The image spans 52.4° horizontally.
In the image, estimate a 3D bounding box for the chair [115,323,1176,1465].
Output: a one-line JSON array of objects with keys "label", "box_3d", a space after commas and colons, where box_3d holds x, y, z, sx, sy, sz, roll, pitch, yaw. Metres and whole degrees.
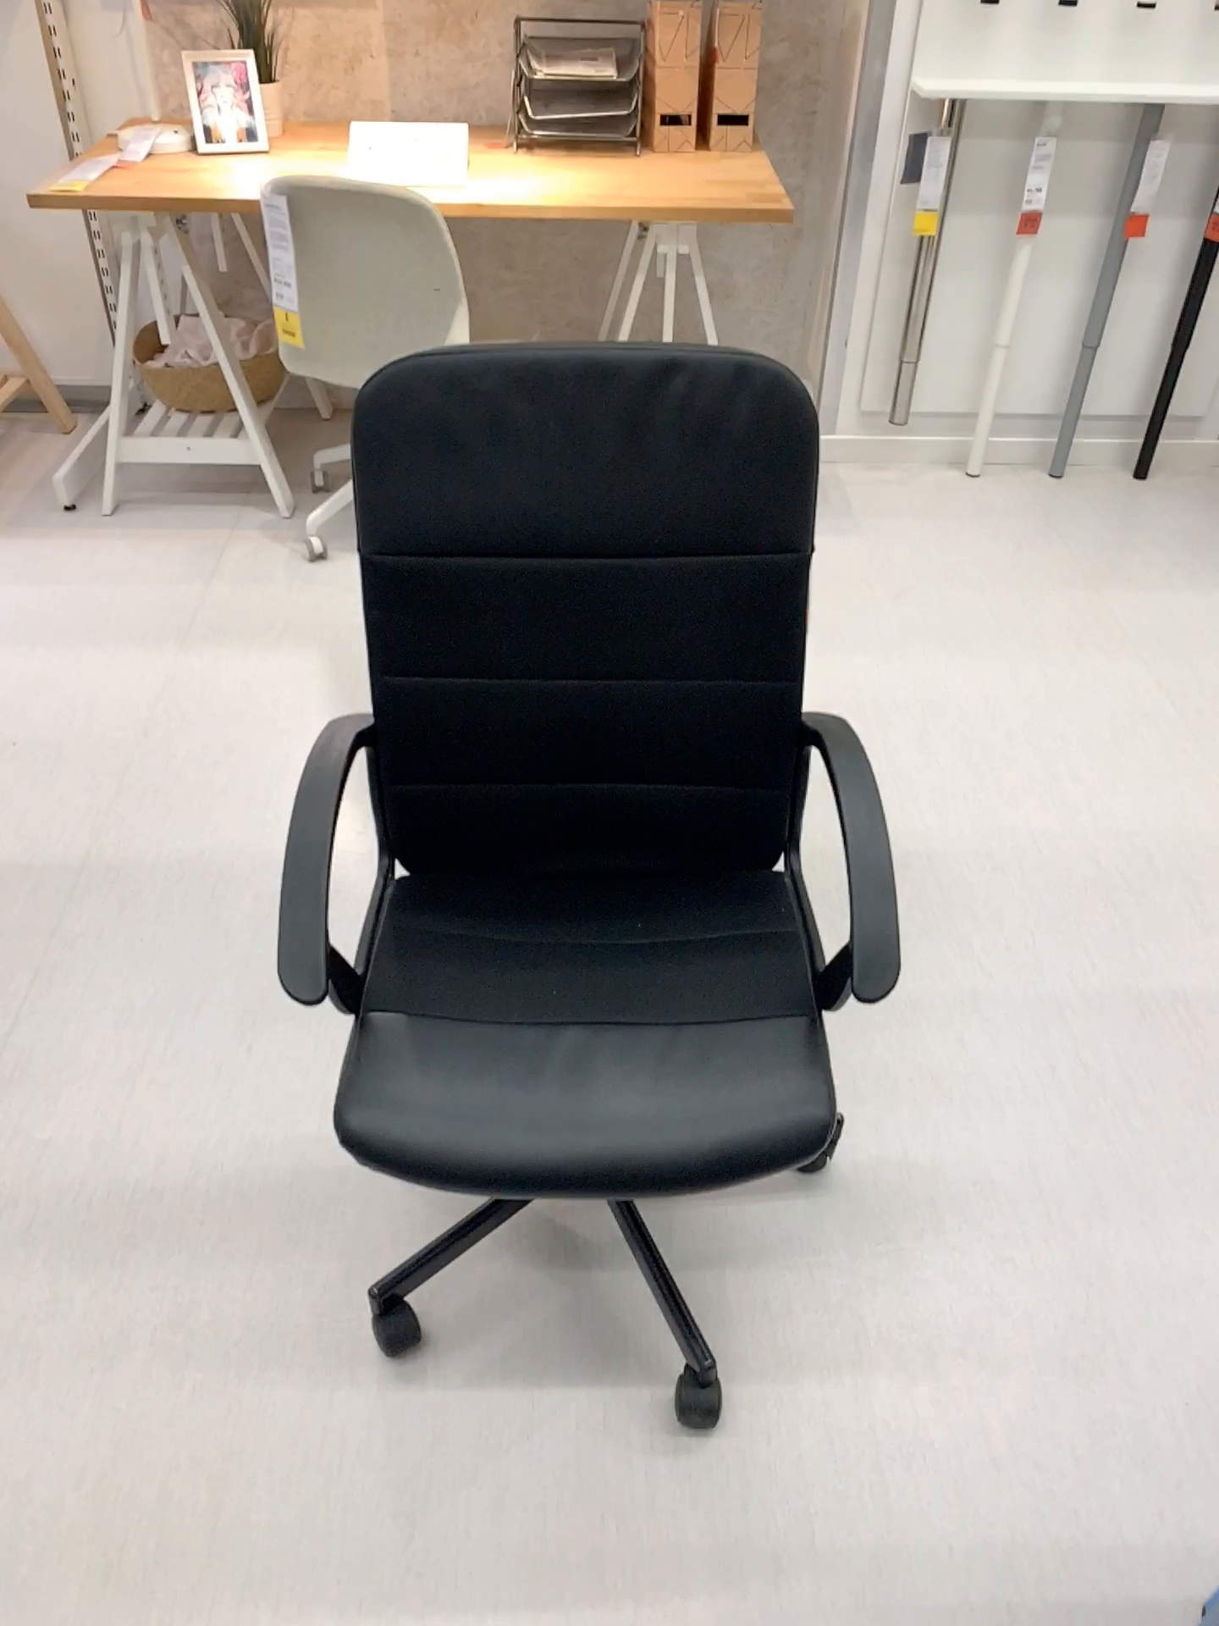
[{"label": "chair", "box_3d": [-0.002, 0.112, 1.247, 0.610, 0.996, 0.582, -1, 39, -4]}]
